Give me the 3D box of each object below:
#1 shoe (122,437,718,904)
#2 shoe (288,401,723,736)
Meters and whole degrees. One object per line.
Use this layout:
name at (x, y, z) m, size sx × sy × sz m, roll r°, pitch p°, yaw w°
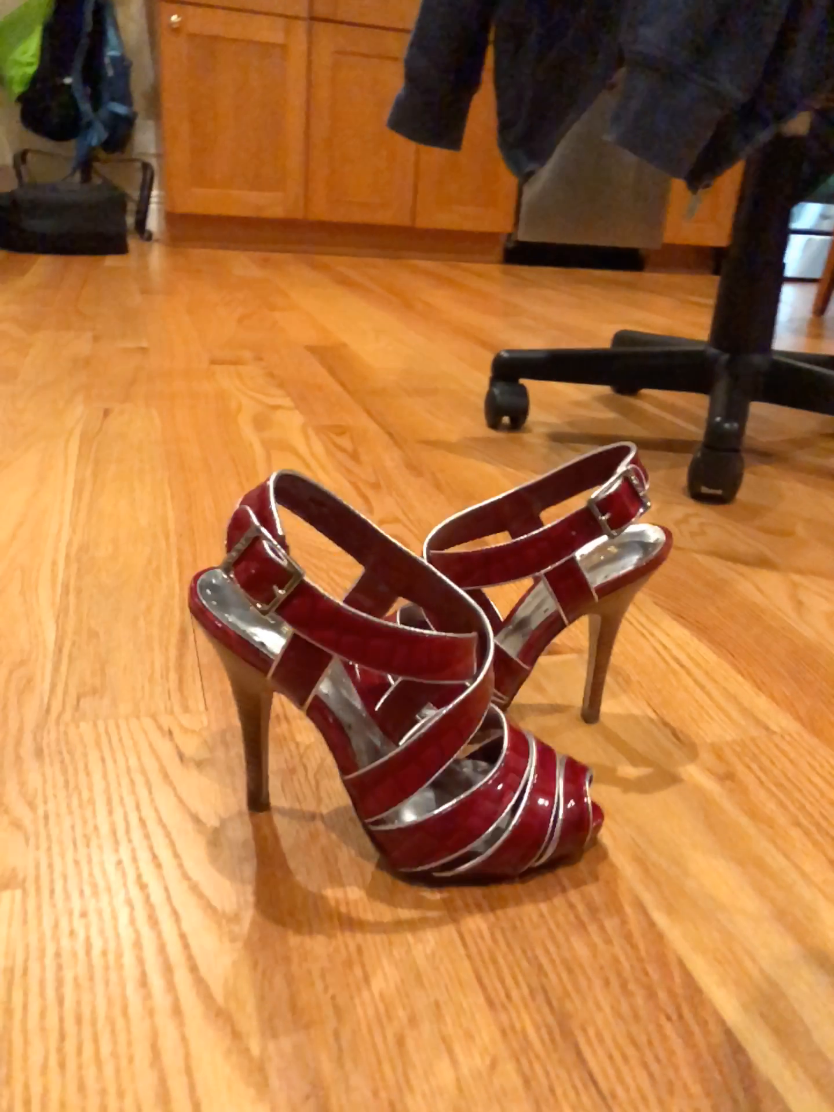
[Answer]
shoe at (-0.003, 0.043, 0.375) m, size 0.198 × 0.151 × 0.092 m, roll 4°, pitch 22°, yaw -2°
shoe at (0.035, 0.005, 0.476) m, size 0.193 × 0.141 × 0.092 m, roll 2°, pitch 22°, yaw -5°
